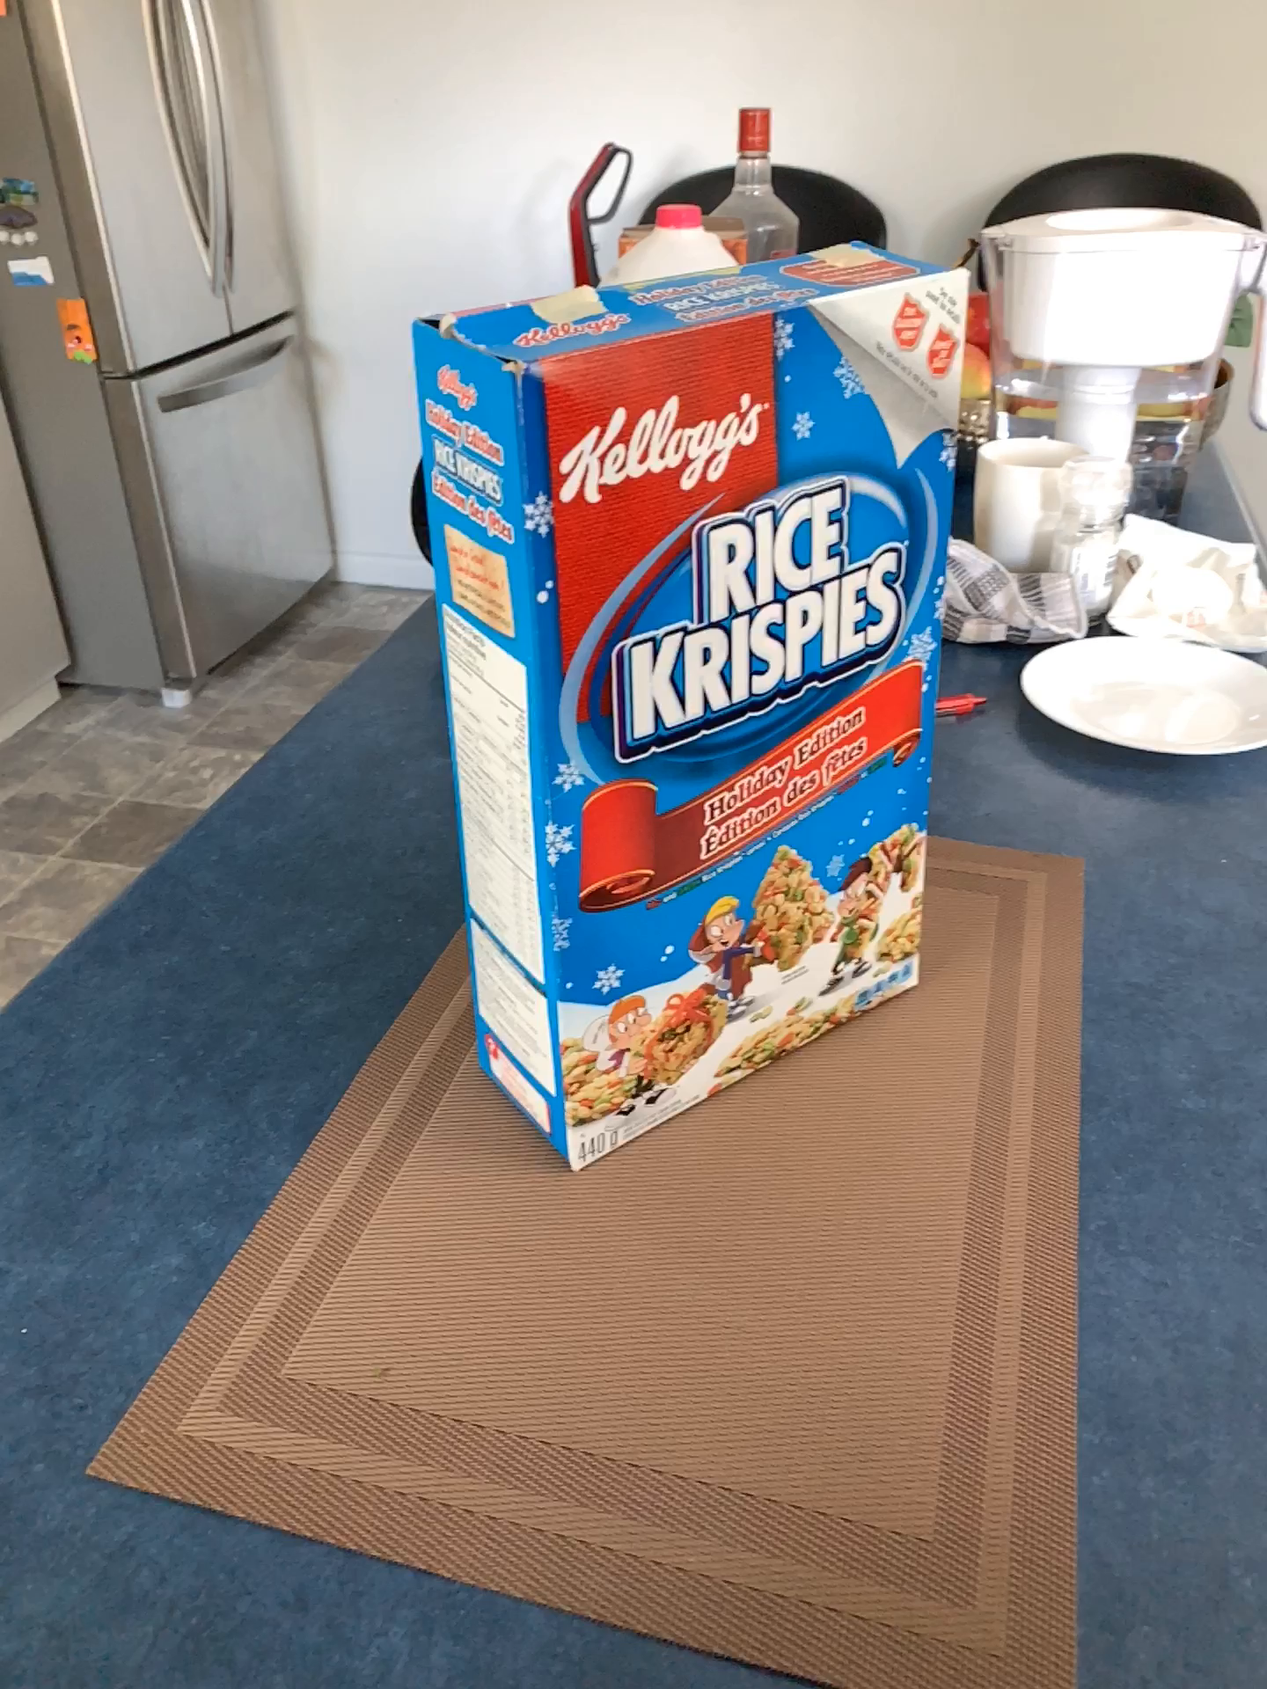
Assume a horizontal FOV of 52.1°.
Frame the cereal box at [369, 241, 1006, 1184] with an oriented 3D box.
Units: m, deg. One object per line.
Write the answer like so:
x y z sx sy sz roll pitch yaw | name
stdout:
0.032 -0.055 0.532 0.221 0.327 0.080 -22 35 -30 | cereal box
